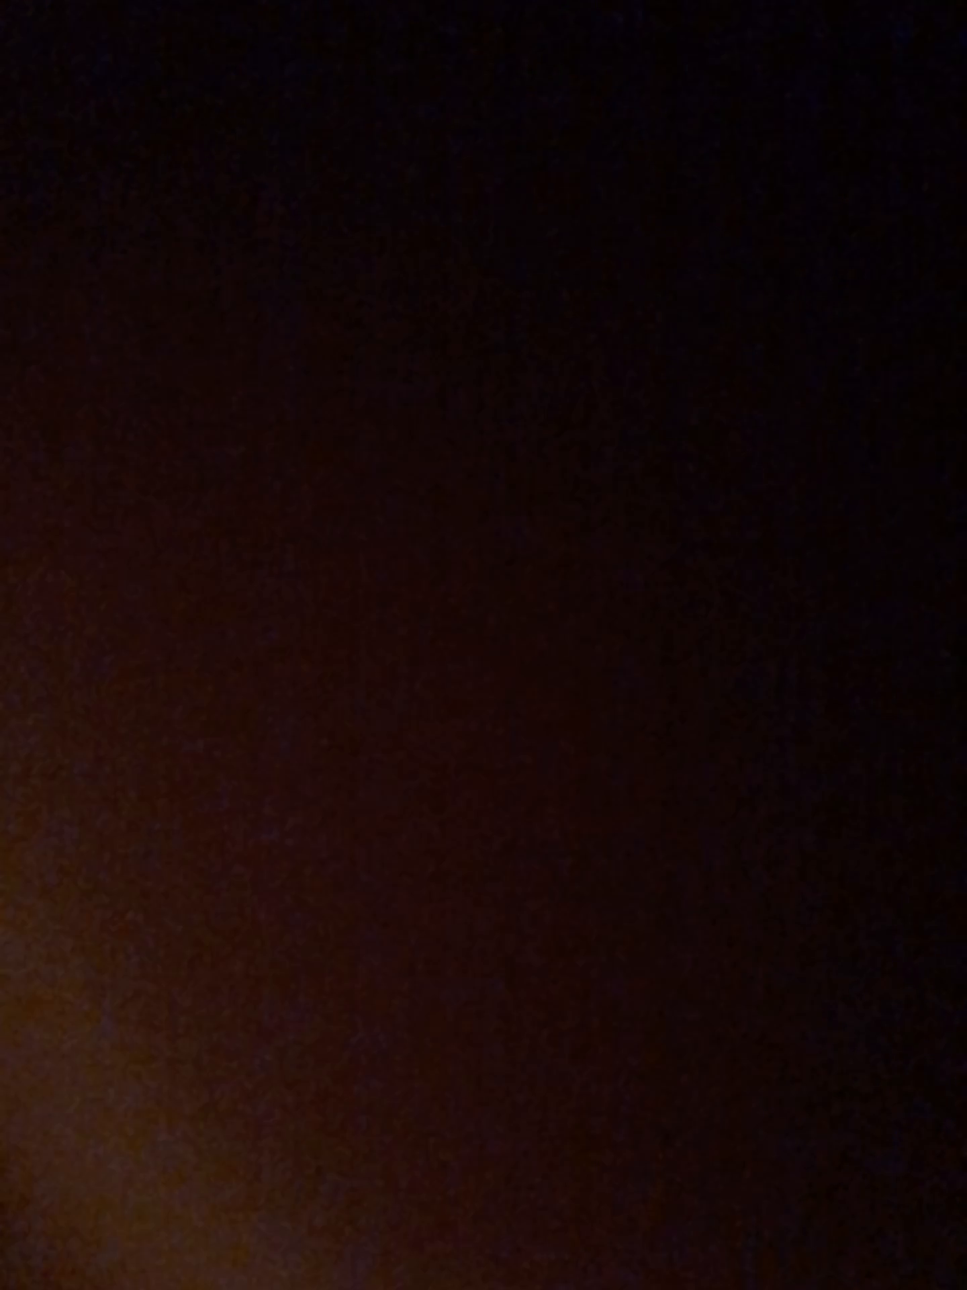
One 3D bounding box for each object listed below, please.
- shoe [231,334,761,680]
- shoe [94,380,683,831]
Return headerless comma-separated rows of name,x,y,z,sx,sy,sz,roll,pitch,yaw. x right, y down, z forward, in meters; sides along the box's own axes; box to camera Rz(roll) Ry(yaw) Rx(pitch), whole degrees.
shoe,0.013,-0.077,0.514,0.205,0.089,0.140,9,43,26
shoe,-0.031,-0.025,0.421,0.195,0.128,0.090,9,35,26
